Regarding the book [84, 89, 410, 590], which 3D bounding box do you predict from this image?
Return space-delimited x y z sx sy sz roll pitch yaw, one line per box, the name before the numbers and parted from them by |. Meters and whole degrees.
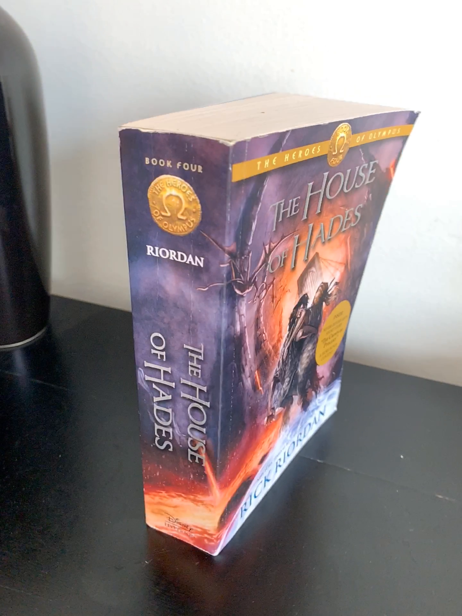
book | 0.017 -0.001 0.230 0.077 0.176 0.145 15 30 20
